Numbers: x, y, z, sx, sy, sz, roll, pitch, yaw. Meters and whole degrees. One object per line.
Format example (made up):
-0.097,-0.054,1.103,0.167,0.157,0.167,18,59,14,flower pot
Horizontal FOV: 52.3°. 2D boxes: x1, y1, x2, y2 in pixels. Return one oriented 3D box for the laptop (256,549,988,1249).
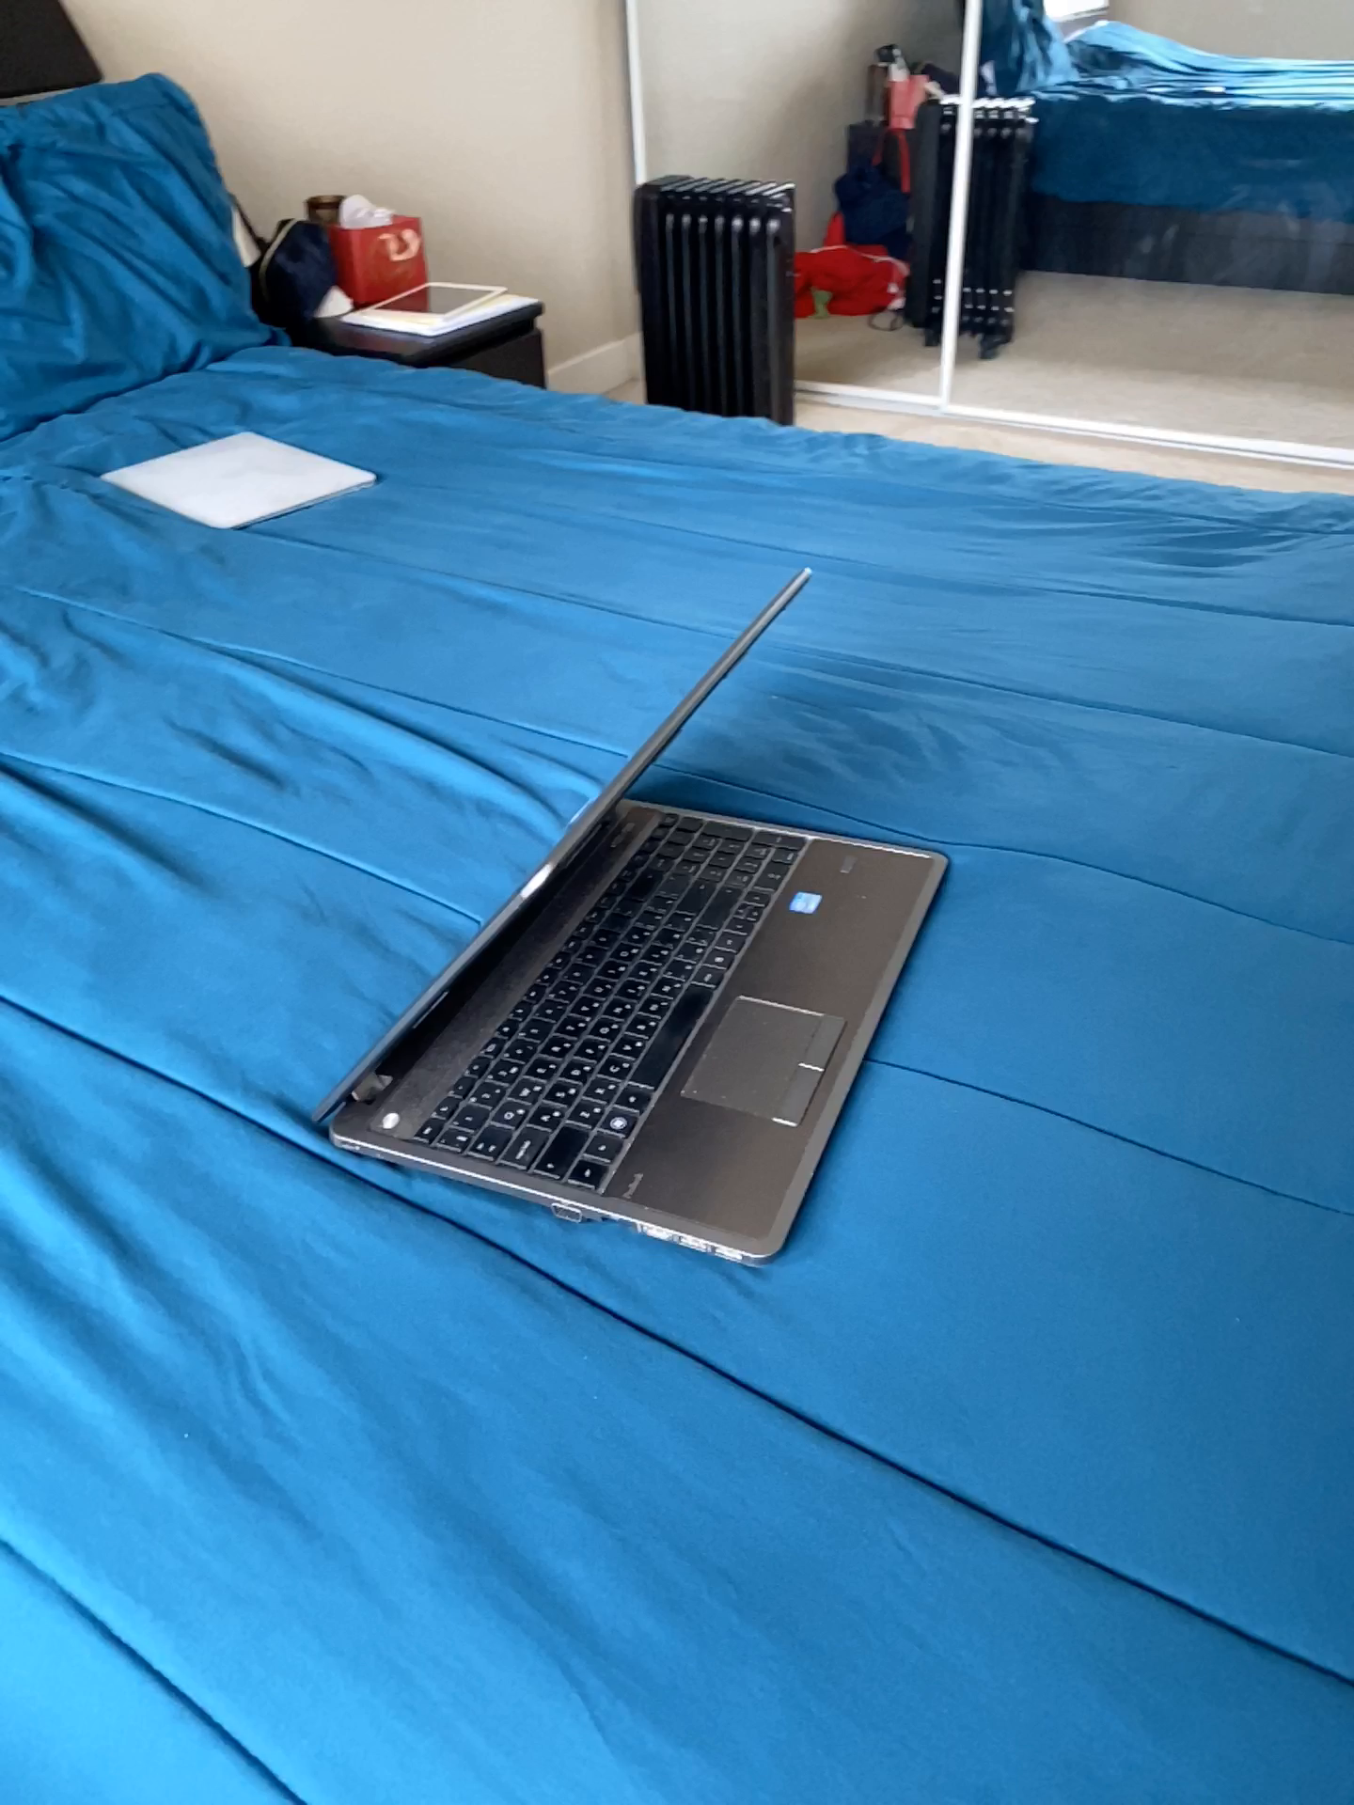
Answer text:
0.000,-0.035,0.779,0.255,0.192,0.370,11,37,20,laptop
